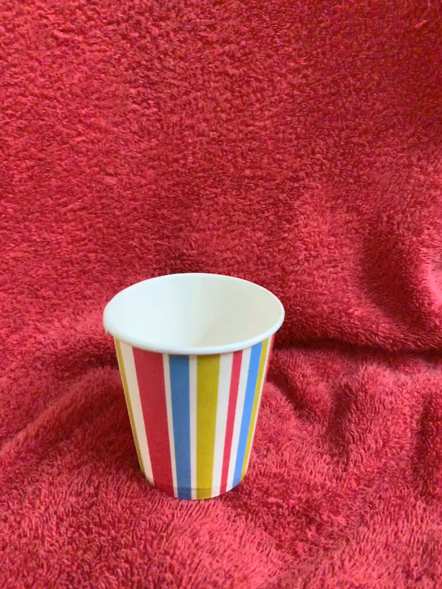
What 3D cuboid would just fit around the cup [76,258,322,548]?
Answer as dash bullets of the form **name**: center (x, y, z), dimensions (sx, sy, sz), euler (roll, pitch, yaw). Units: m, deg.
- **cup**: center (-0.013, 0.033, 0.180), dimensions (0.070, 0.070, 0.070), euler (1, 23, 0)
